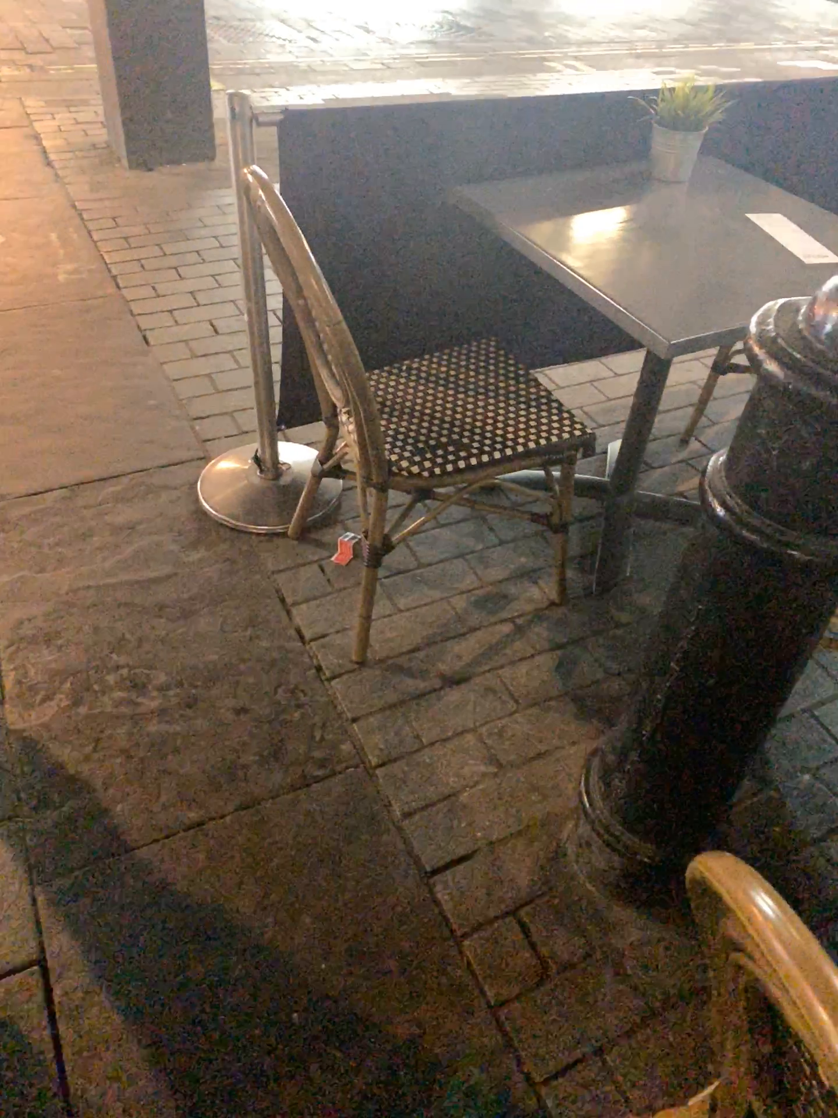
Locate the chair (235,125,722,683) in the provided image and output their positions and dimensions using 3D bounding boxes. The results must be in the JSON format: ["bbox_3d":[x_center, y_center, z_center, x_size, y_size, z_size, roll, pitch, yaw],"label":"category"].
[{"bbox_3d":[0.050,-0.298,1.607,0.601,0.792,0.514,-15,46,-22],"label":"chair"}]
